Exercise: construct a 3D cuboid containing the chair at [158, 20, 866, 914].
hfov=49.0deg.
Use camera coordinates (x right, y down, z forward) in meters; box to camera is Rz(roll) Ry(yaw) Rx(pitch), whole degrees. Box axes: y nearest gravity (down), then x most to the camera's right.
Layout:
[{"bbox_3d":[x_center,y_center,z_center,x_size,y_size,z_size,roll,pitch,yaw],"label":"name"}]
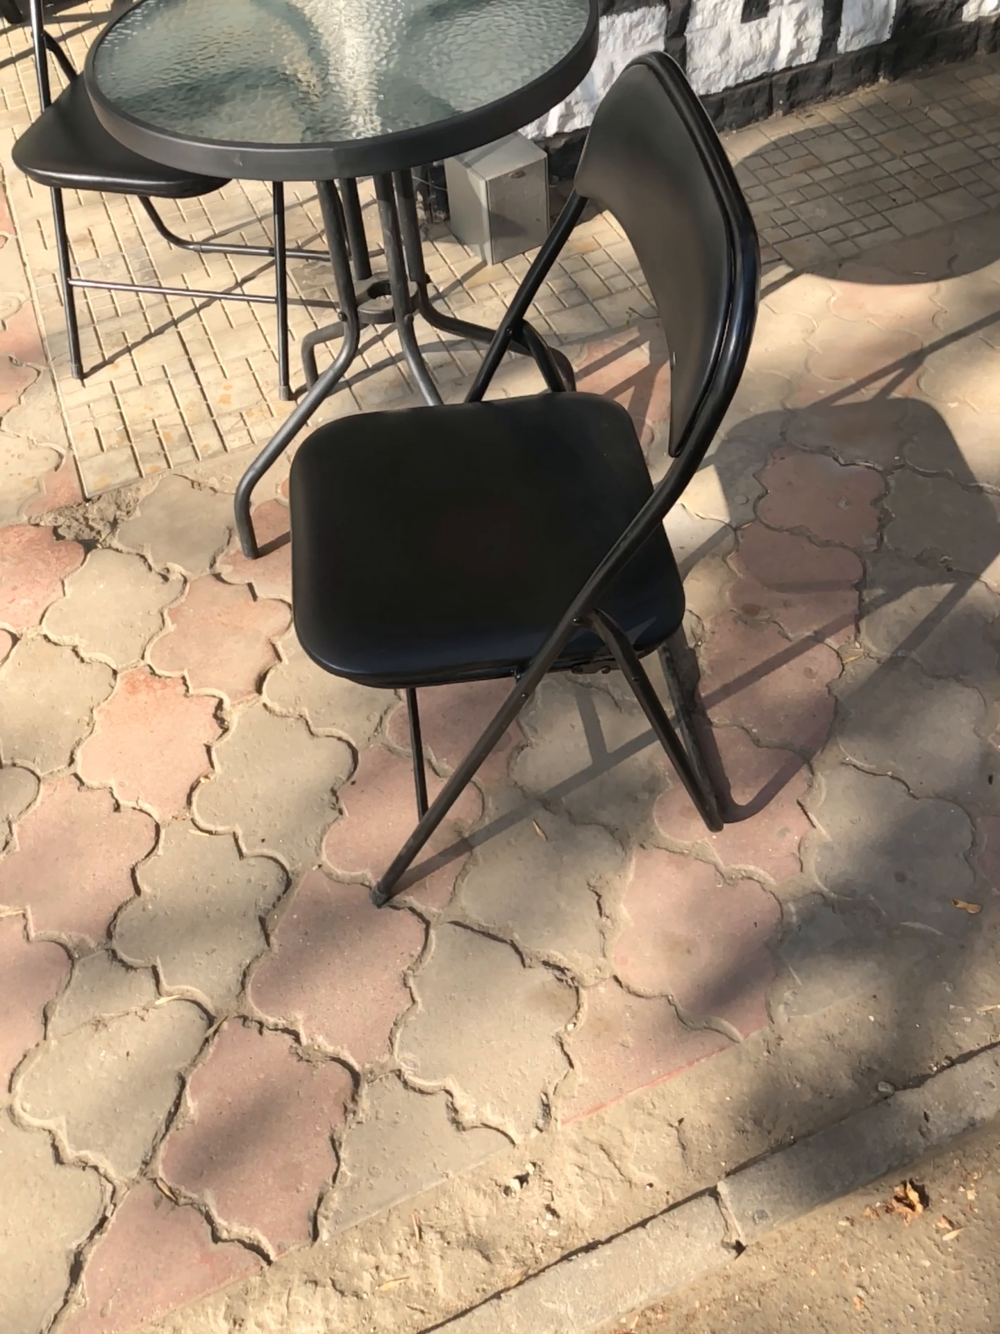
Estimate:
[{"bbox_3d":[-0.003,-0.169,1.147,0.470,0.697,0.502,-9,50,-3],"label":"chair"}]
